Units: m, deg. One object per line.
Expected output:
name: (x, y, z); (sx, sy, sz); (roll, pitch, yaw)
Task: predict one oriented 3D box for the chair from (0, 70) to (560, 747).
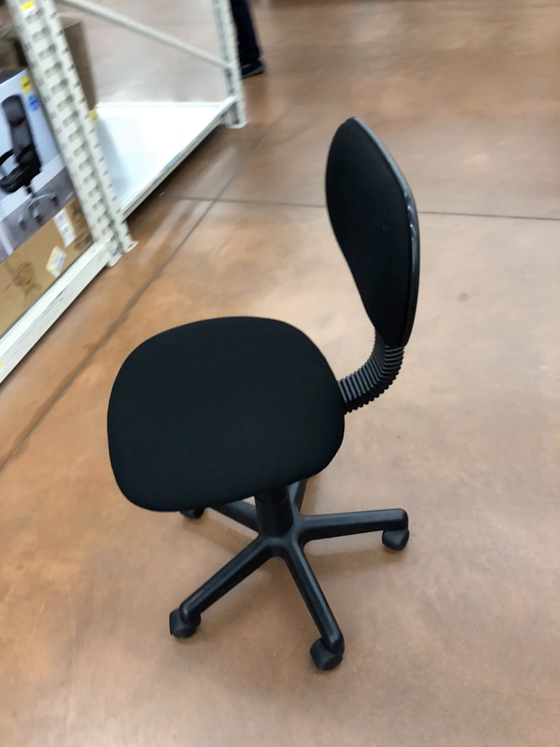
chair: (-0.088, 0.073, 1.030); (0.660, 0.797, 0.673); (-11, 42, -2)
